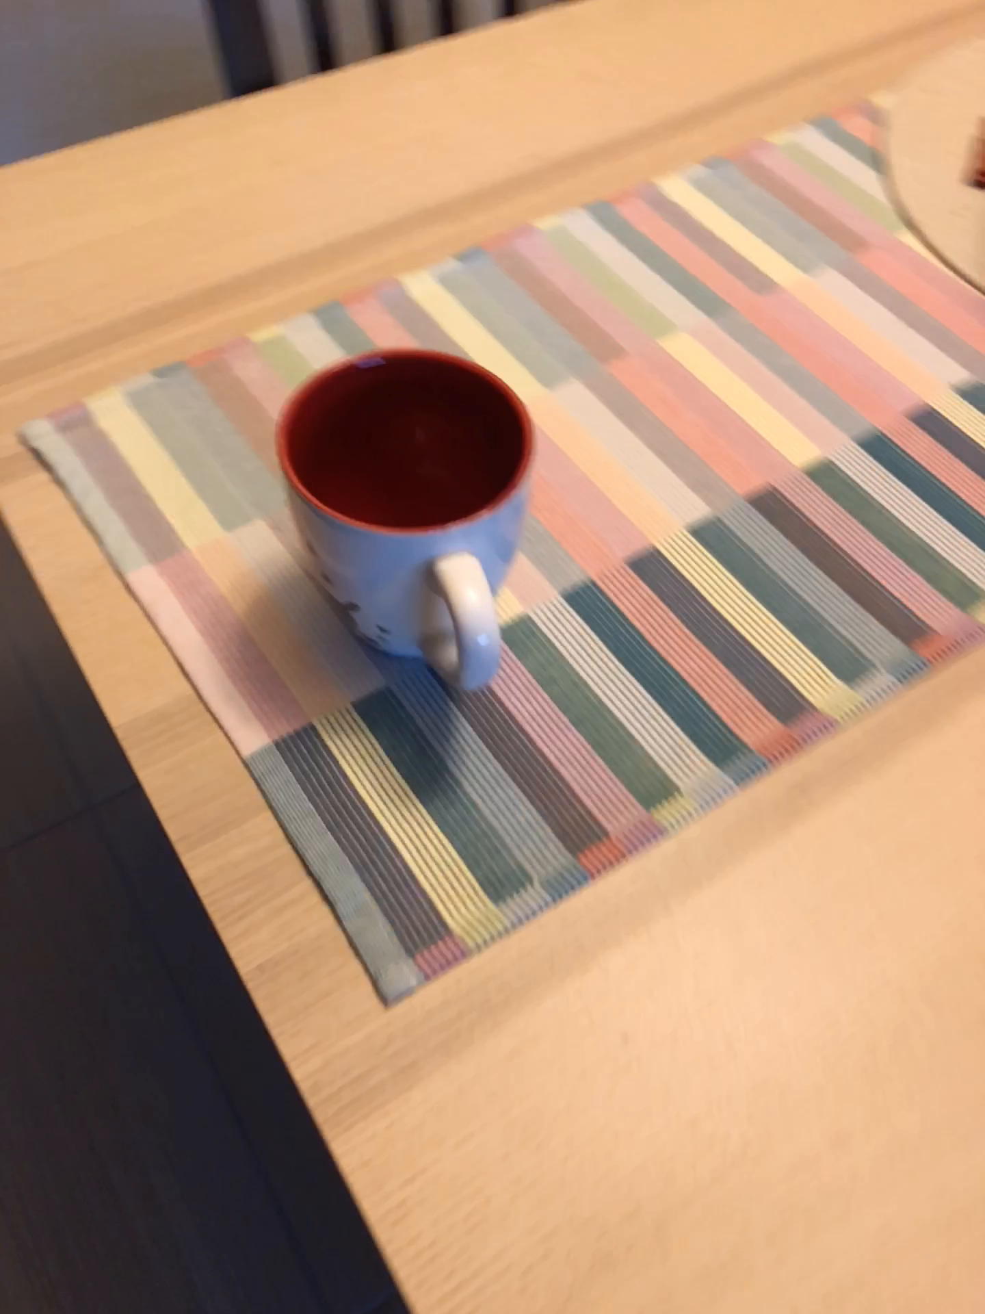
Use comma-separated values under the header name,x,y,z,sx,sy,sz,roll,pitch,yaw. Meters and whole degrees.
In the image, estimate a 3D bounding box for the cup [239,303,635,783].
name,x,y,z,sx,sy,sz,roll,pitch,yaw
cup,-0.025,-0.046,0.419,0.100,0.090,0.140,-16,57,-13
